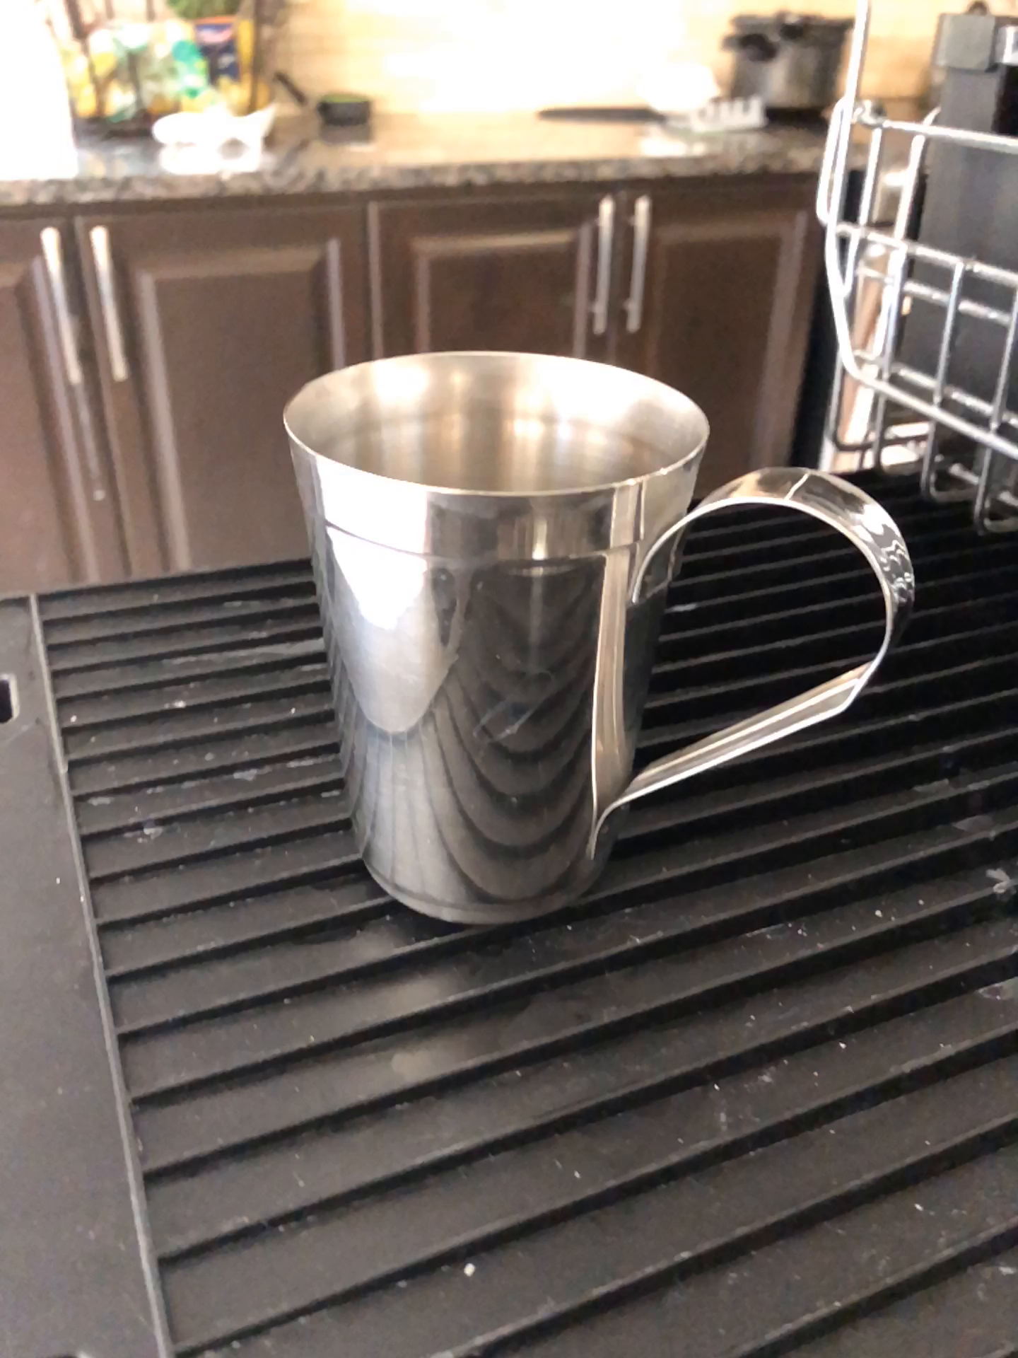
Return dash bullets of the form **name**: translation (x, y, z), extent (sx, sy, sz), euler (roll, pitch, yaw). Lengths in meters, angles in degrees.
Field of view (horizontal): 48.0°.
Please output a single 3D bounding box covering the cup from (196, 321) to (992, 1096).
- **cup**: translation (0.015, -0.001, 0.206), extent (0.110, 0.097, 0.065), euler (14, 33, 20)
